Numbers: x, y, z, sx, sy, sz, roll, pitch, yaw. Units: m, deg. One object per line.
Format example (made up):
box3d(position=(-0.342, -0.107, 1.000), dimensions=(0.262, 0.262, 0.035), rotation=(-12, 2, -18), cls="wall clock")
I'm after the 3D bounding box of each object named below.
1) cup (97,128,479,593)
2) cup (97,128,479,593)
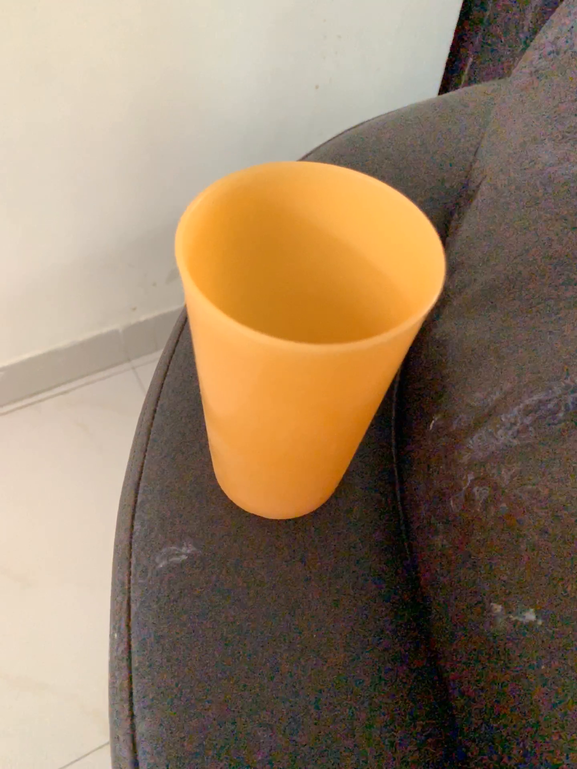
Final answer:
box3d(position=(-0.001, 0.001, 0.202), dimensions=(0.070, 0.129, 0.070), rotation=(2, 53, -3), cls="cup")
box3d(position=(-0.001, 0.001, 0.202), dimensions=(0.070, 0.129, 0.070), rotation=(2, 53, -3), cls="cup")
